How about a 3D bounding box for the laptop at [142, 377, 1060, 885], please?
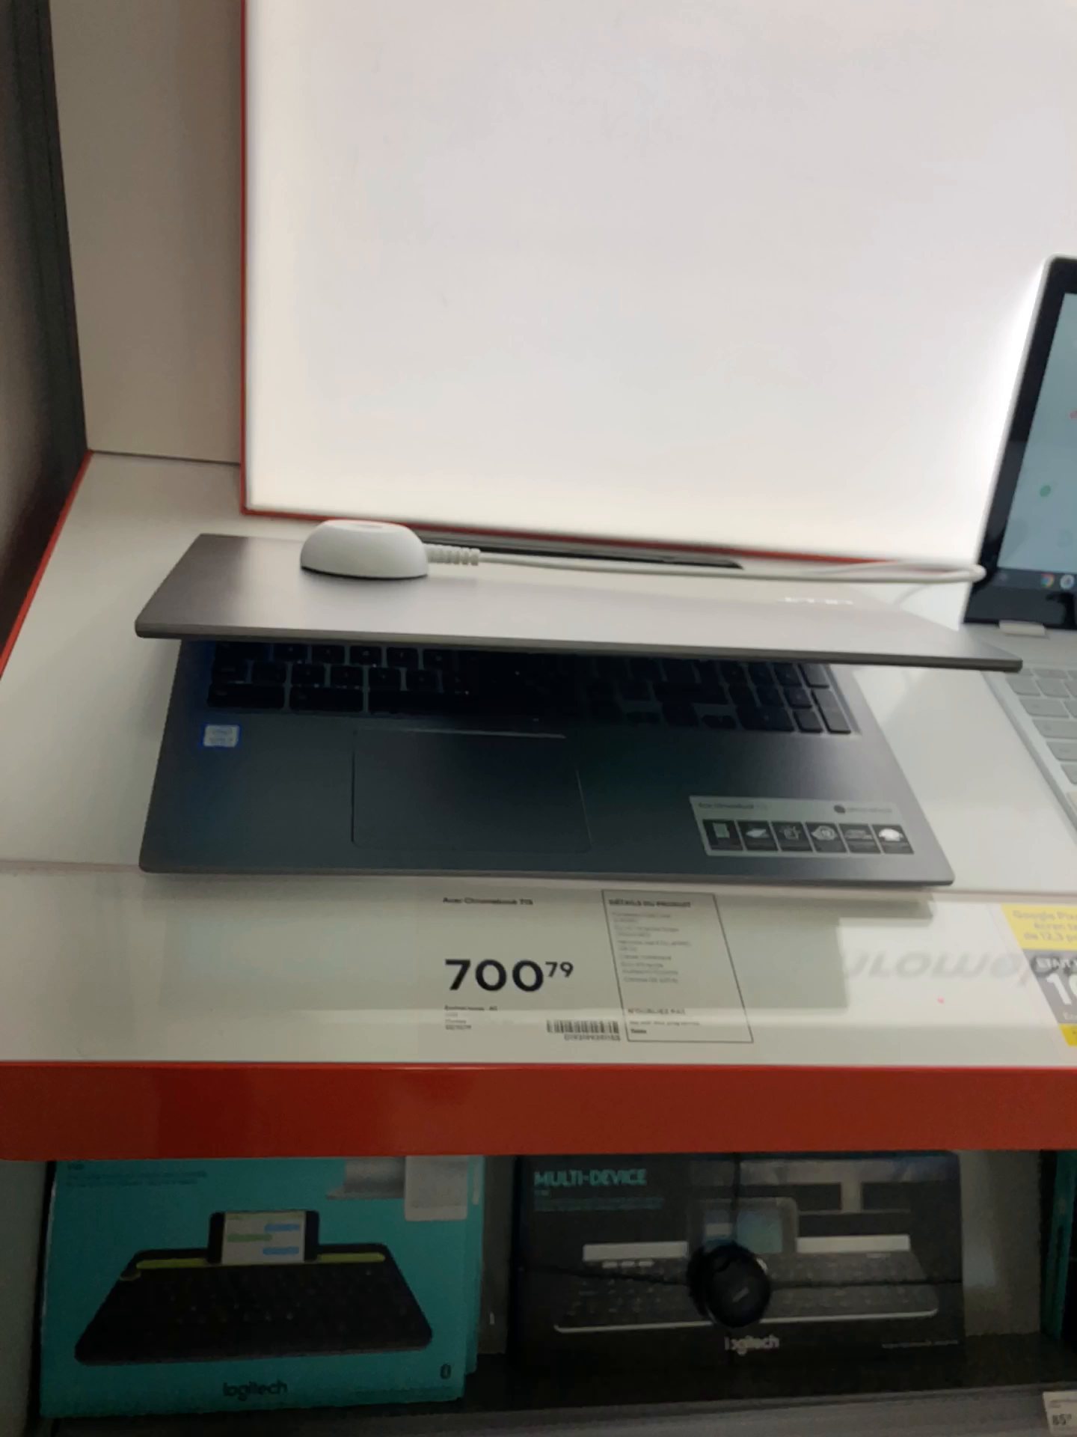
[{"bbox_3d":[0.014,-0.047,0.572,0.356,0.105,0.237,3,38,-11],"label":"laptop"}]
